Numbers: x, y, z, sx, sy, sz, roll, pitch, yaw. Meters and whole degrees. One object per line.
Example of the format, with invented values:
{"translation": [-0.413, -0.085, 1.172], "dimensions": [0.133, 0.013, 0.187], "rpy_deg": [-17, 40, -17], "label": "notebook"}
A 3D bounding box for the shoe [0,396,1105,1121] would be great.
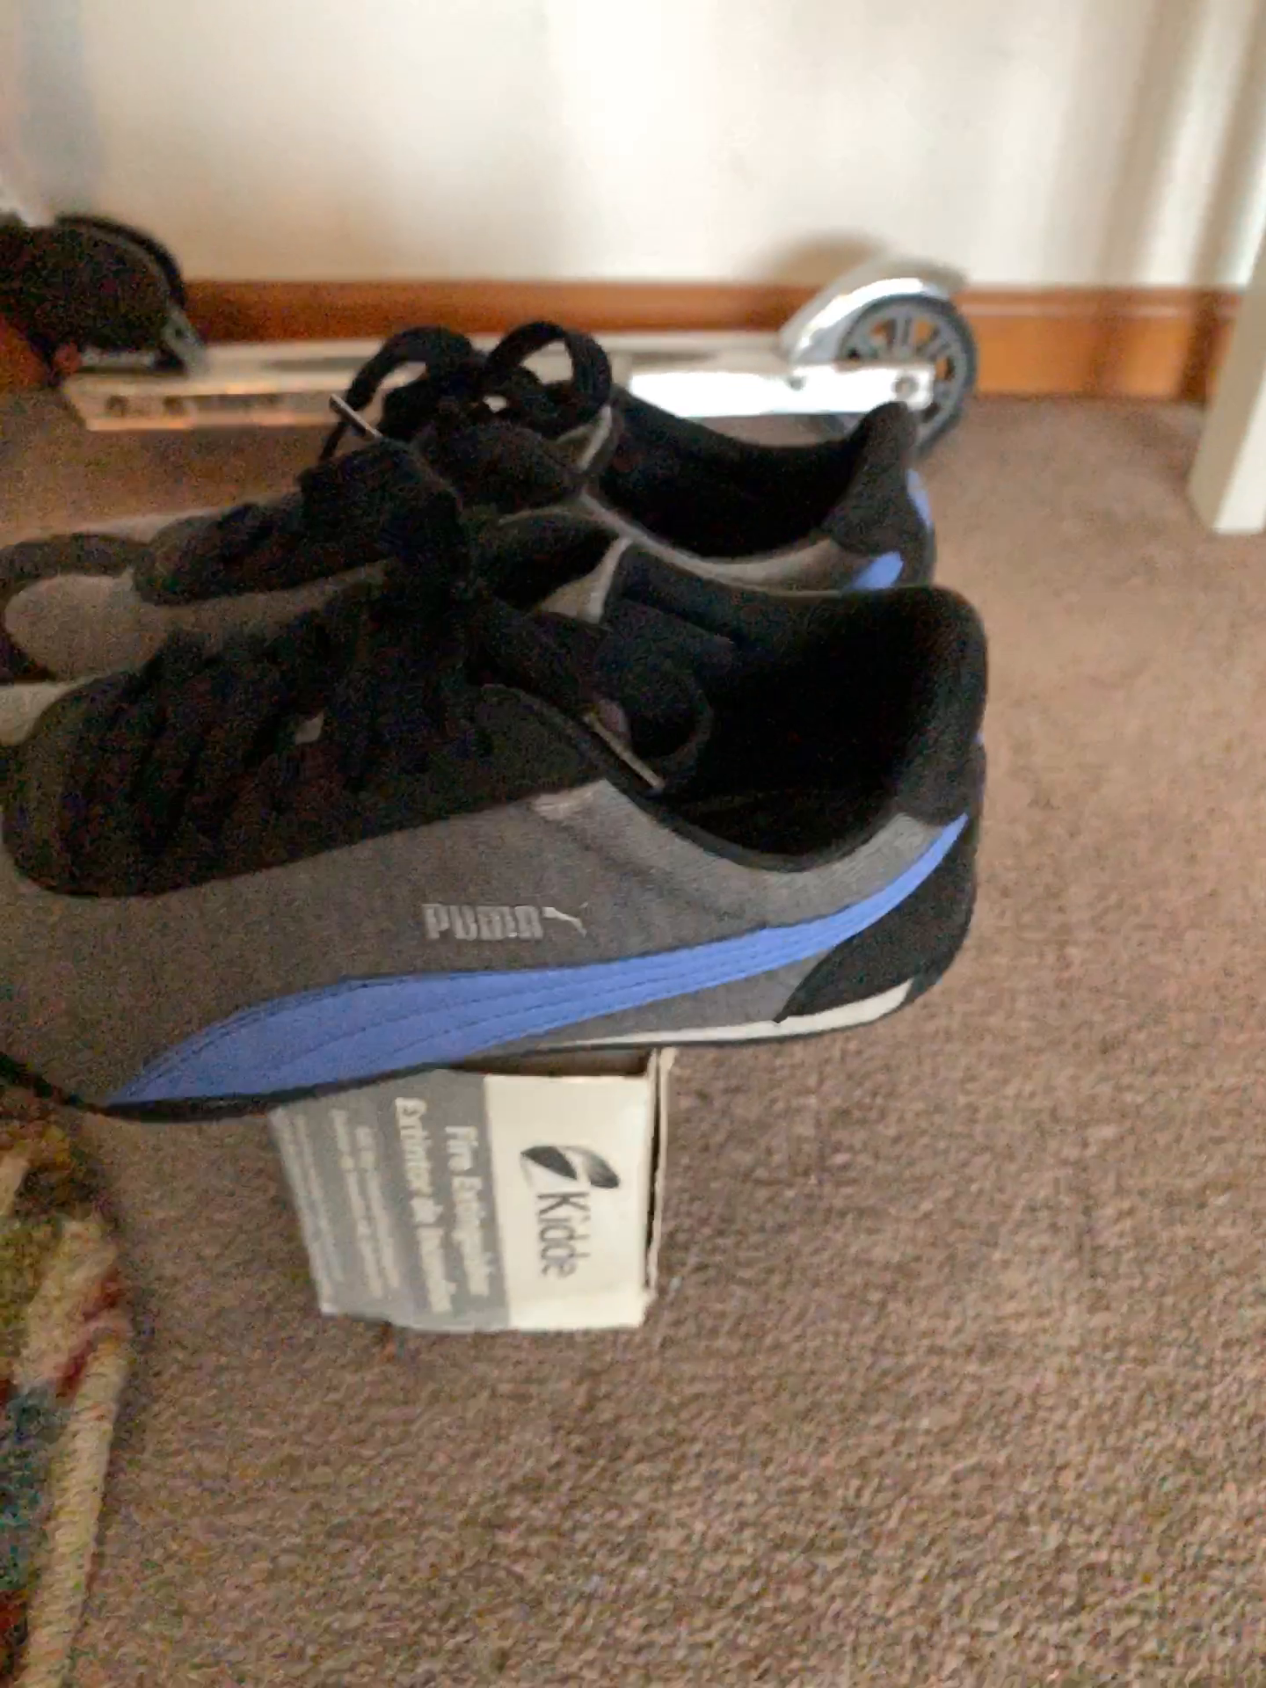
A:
{"translation": [-0.052, -0.019, 0.262], "dimensions": [0.240, 0.099, 0.101], "rpy_deg": [-1, 41, 0], "label": "shoe"}

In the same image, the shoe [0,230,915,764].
{"translation": [-0.060, -0.088, 0.326], "dimensions": [0.230, 0.089, 0.101], "rpy_deg": [-1, 41, 0], "label": "shoe"}
